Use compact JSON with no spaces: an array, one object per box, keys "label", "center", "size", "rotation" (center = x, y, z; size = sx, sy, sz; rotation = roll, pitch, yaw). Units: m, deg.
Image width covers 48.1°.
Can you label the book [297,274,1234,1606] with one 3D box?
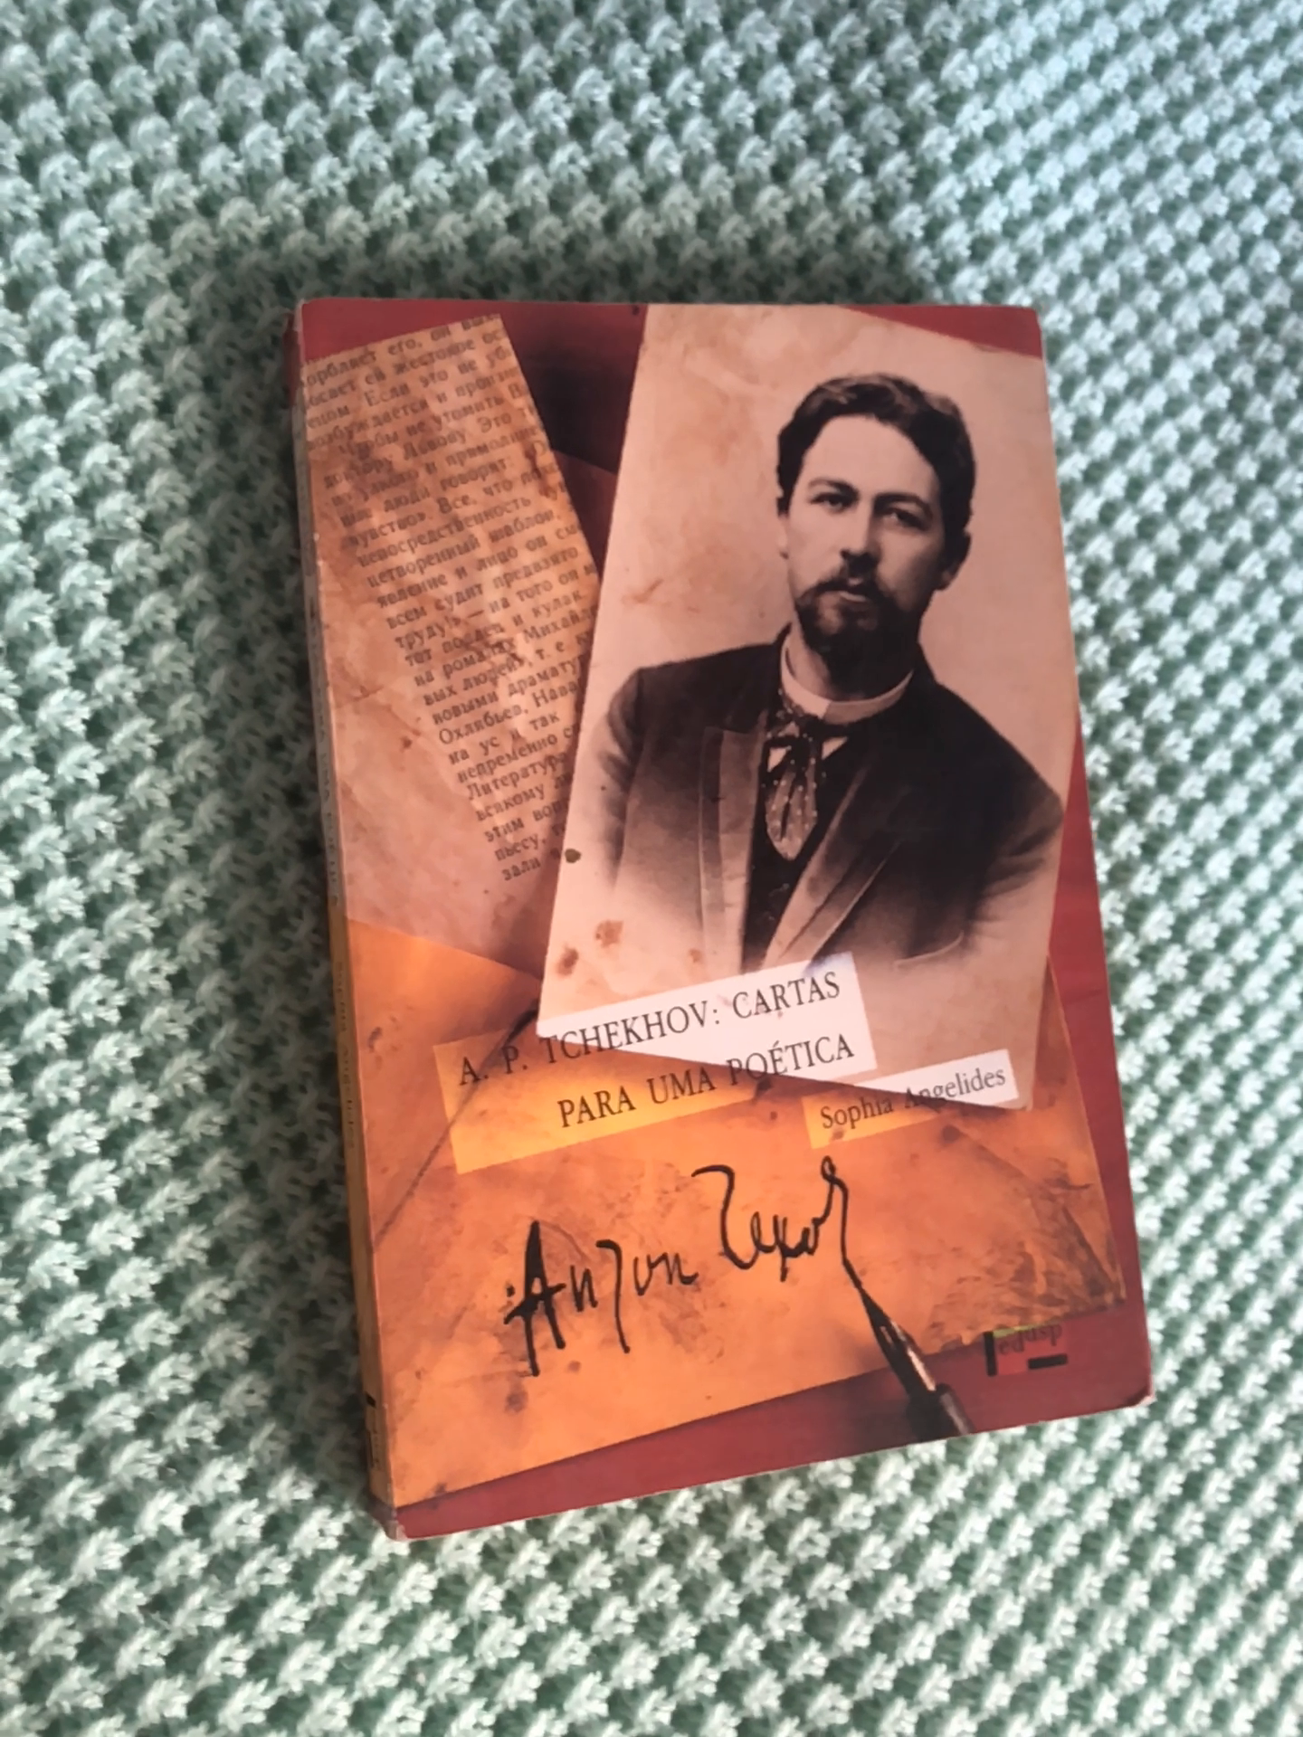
[{"label":"book","center":[0.023,0.004,0.268],"size":[0.150,0.030,0.210],"rotation":[-5,87,-19]}]
